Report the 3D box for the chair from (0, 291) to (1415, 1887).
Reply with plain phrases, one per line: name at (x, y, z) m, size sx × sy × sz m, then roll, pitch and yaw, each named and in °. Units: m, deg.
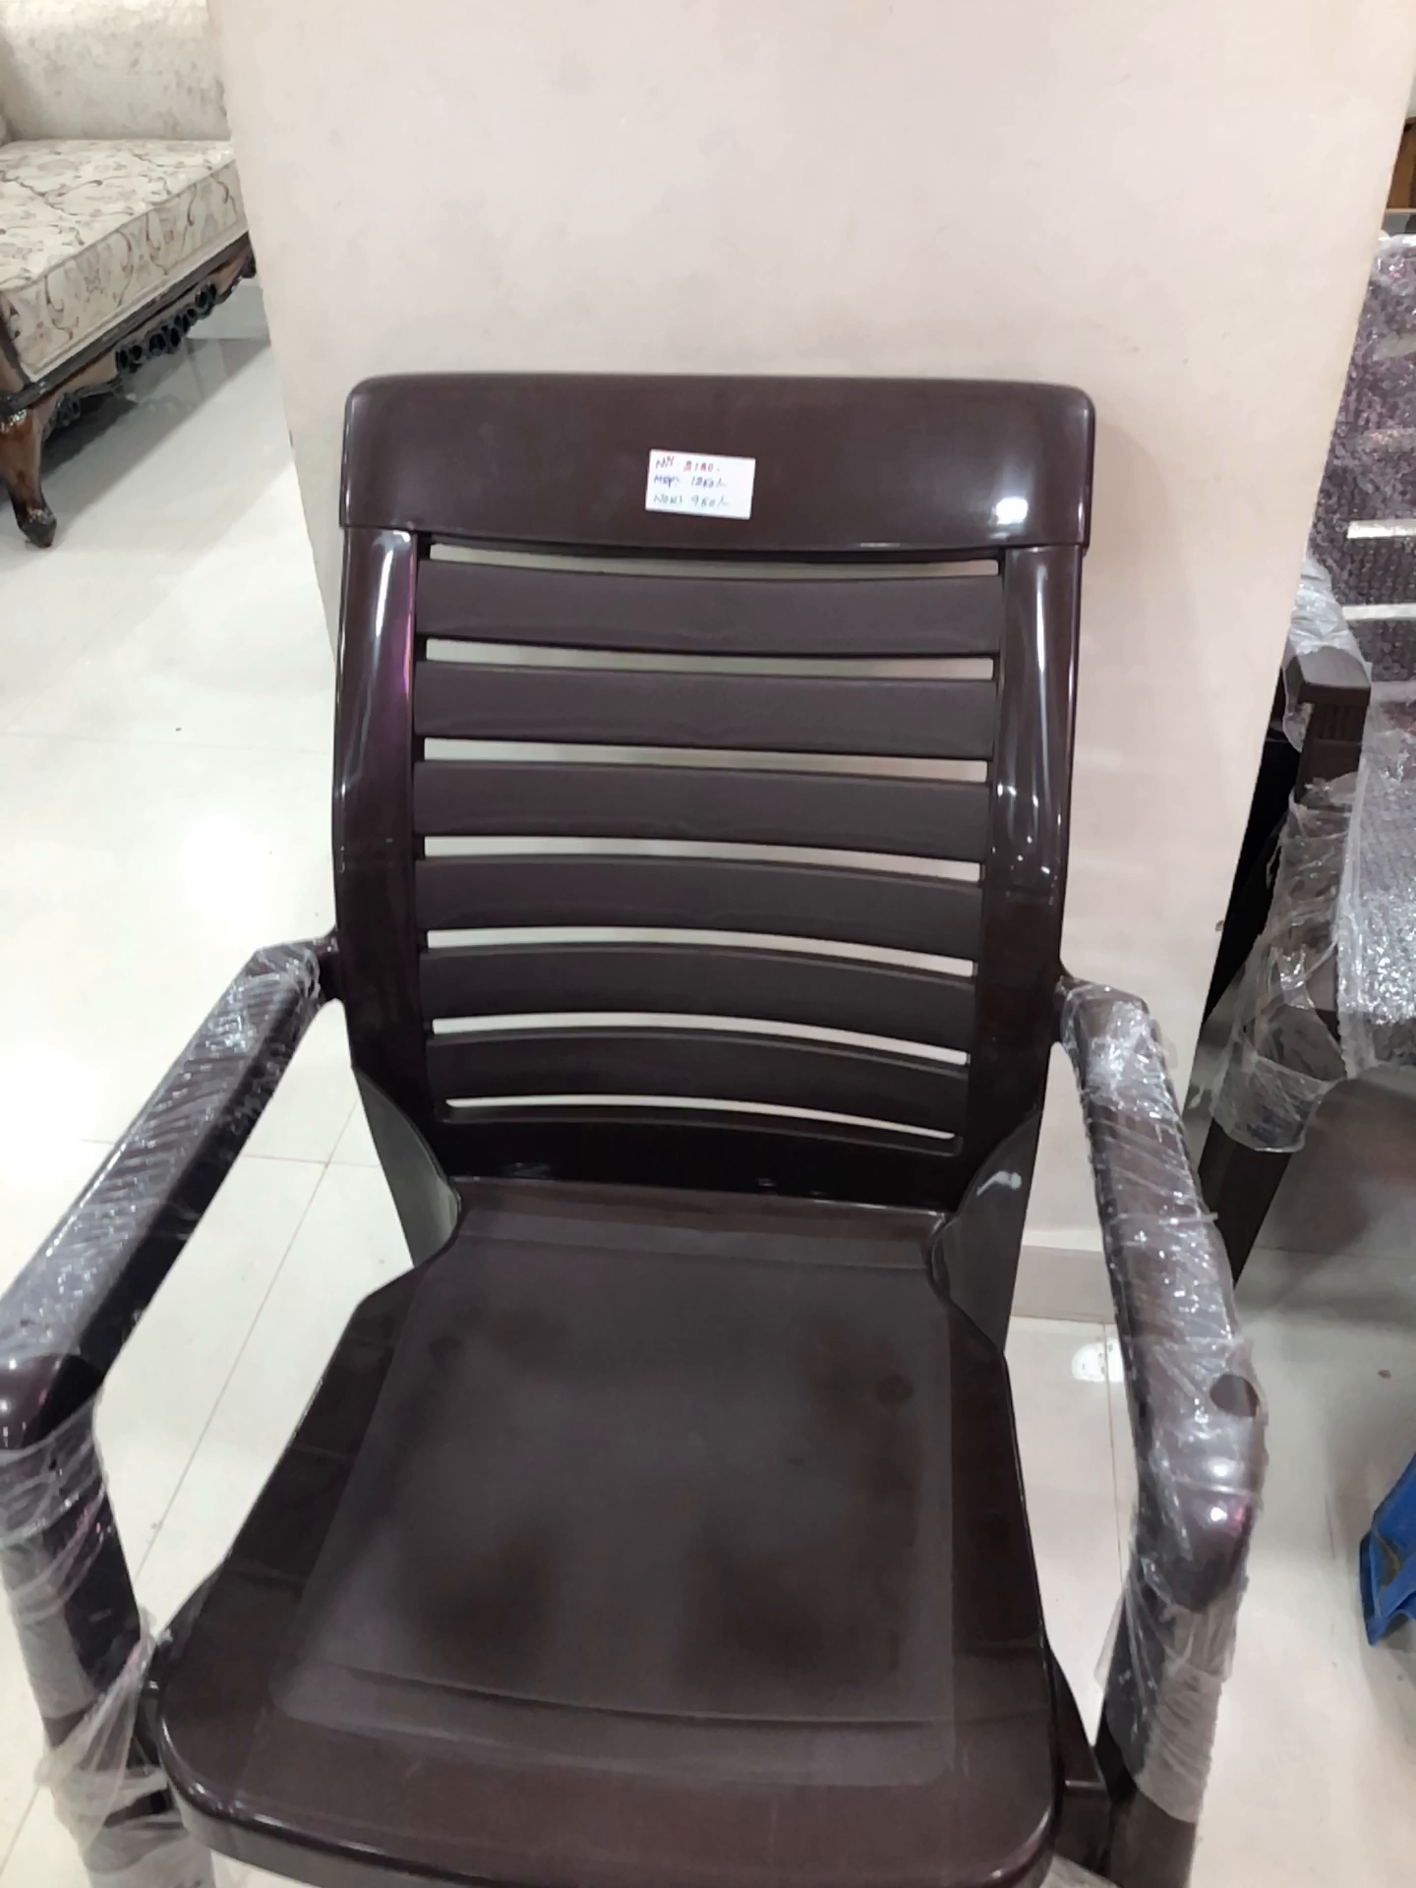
chair at (-0.030, 0.223, 0.941) m, size 0.640 × 1.003 × 0.675 m, roll 4°, pitch 36°, yaw 5°
